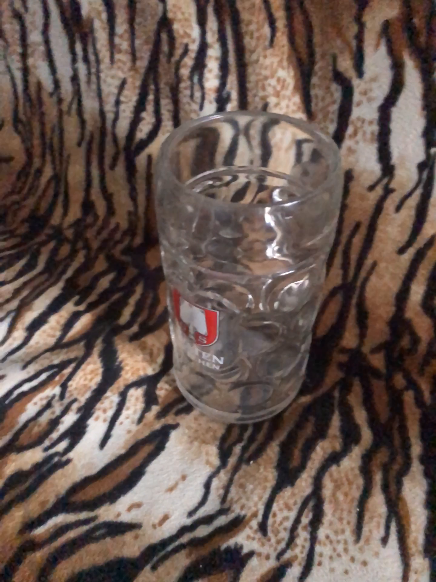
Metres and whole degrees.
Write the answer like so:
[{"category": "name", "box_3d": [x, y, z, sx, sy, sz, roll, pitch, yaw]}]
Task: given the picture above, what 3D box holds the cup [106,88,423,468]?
[{"category": "cup", "box_3d": [0.032, -0.014, 0.346, 0.121, 0.194, 0.150, 29, 48, 30]}]
